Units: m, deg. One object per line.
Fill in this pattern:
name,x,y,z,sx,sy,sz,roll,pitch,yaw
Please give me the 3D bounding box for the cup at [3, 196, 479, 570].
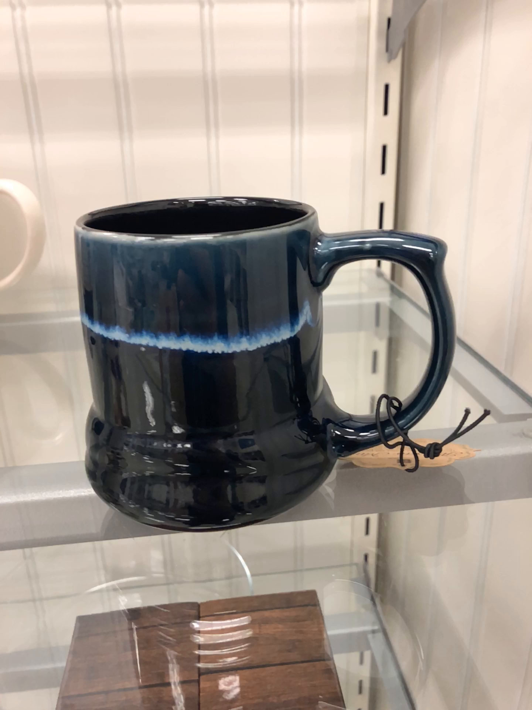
cup,-0.002,0.000,0.237,0.140,0.109,0.101,2,22,9
